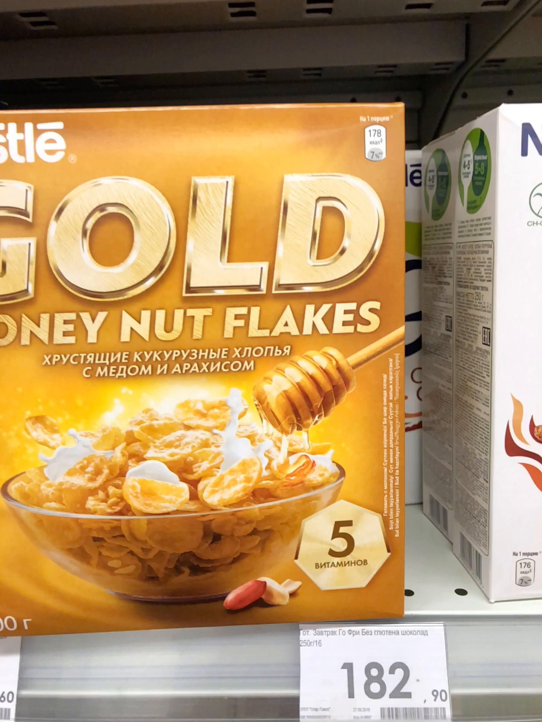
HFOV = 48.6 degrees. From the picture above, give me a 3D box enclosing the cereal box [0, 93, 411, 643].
[{"bbox_3d":[-0.038,0.006,0.269,0.190,0.219,0.050,-2,8,-1],"label":"cereal box"}]
